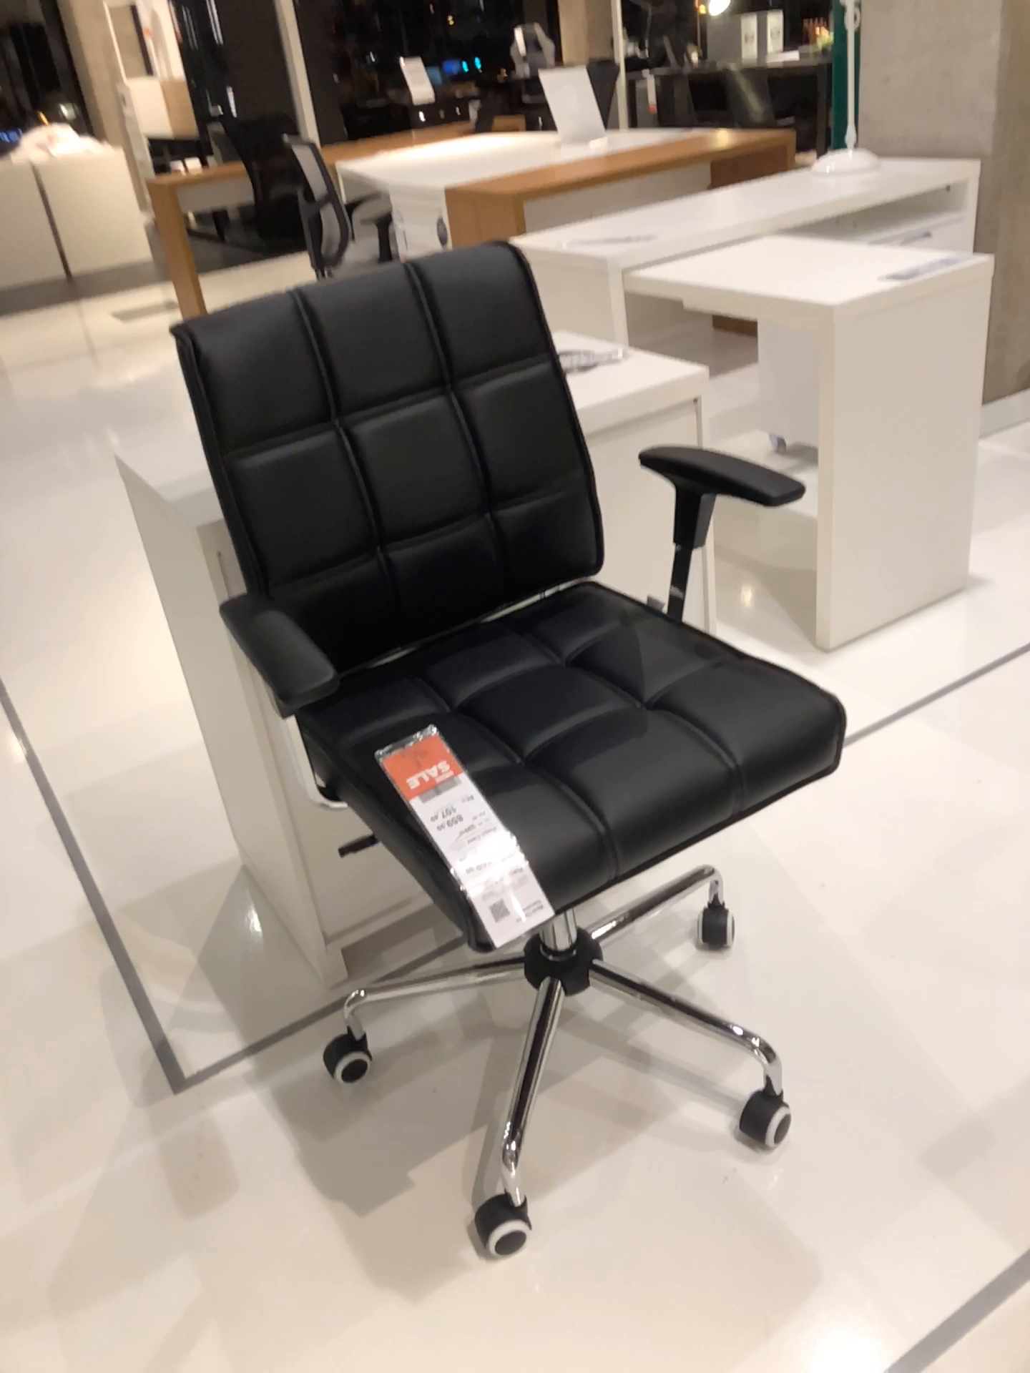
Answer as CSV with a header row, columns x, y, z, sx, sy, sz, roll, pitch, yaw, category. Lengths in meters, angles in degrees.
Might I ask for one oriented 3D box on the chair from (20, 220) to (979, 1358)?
x,y,z,sx,sy,sz,roll,pitch,yaw,category
-0.017,0.022,1.308,0.622,0.913,0.744,-25,34,-26,chair
